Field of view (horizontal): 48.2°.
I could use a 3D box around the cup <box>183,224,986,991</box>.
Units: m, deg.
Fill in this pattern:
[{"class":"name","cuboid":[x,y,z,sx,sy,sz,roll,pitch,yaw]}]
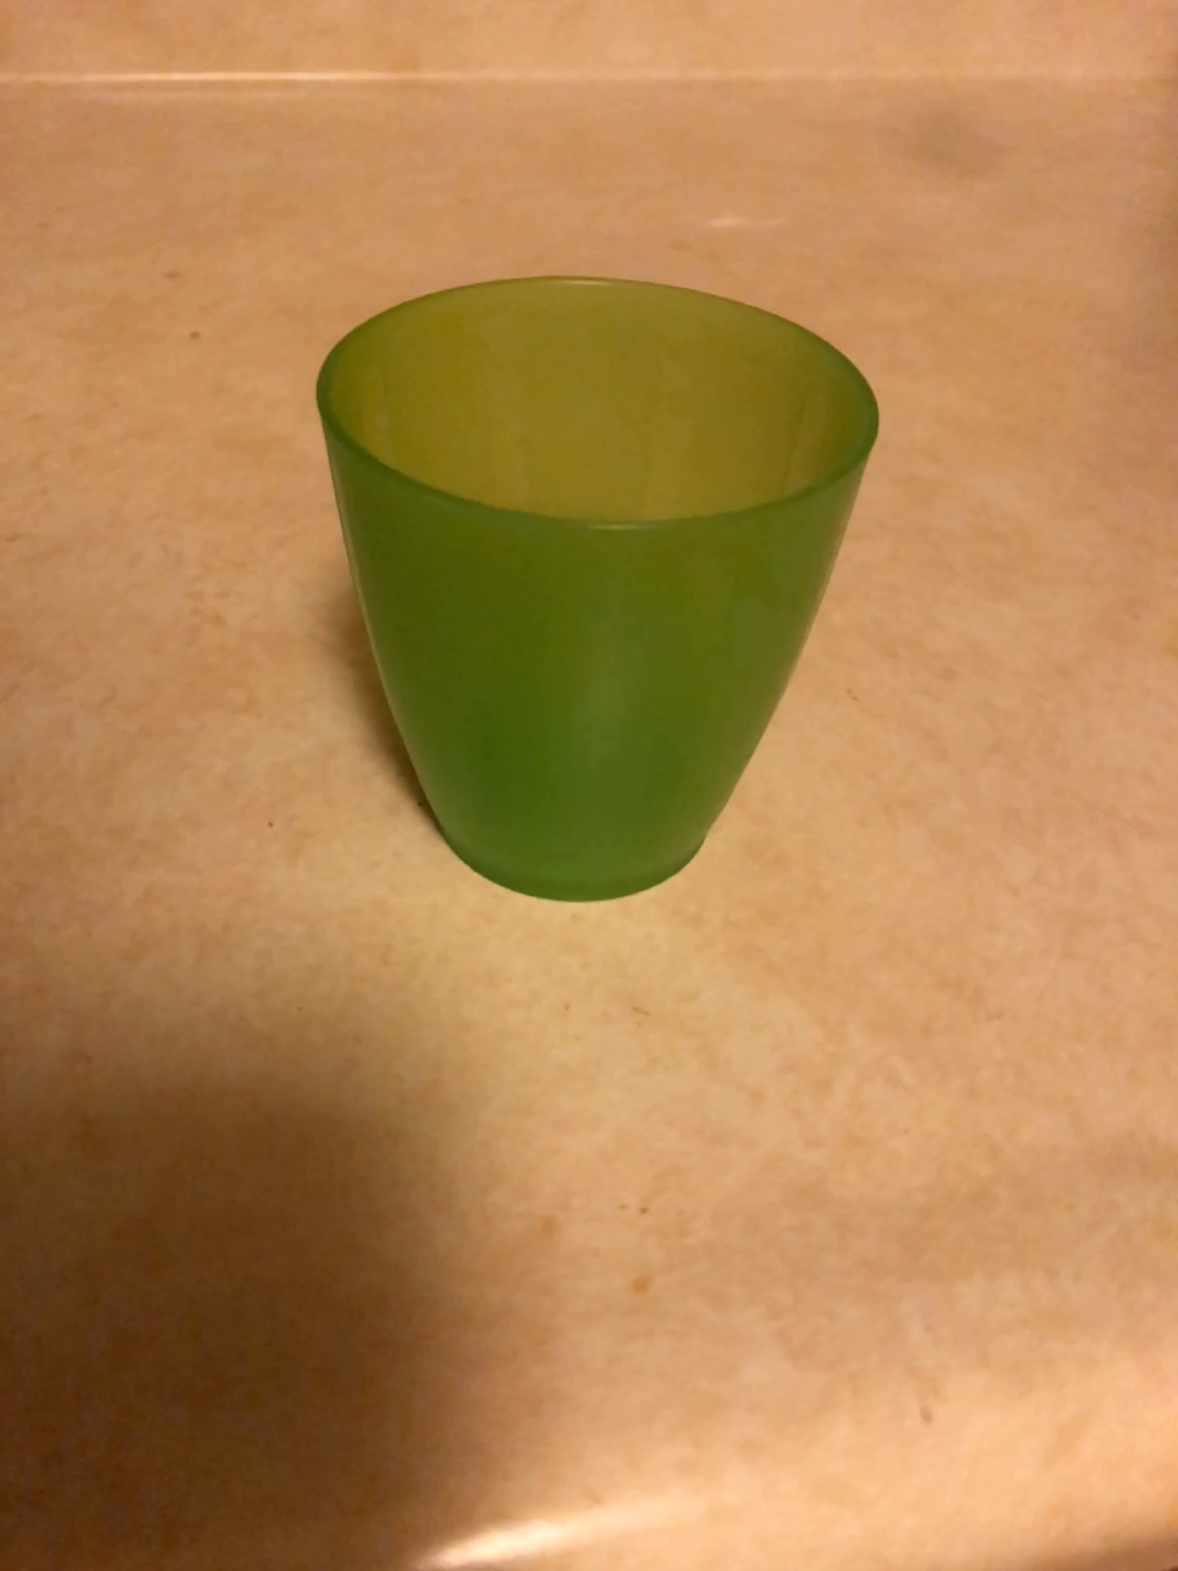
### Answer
[{"class":"cup","cuboid":[-0.002,-0.034,0.208,0.080,0.070,0.080,2,40,-2]}]
